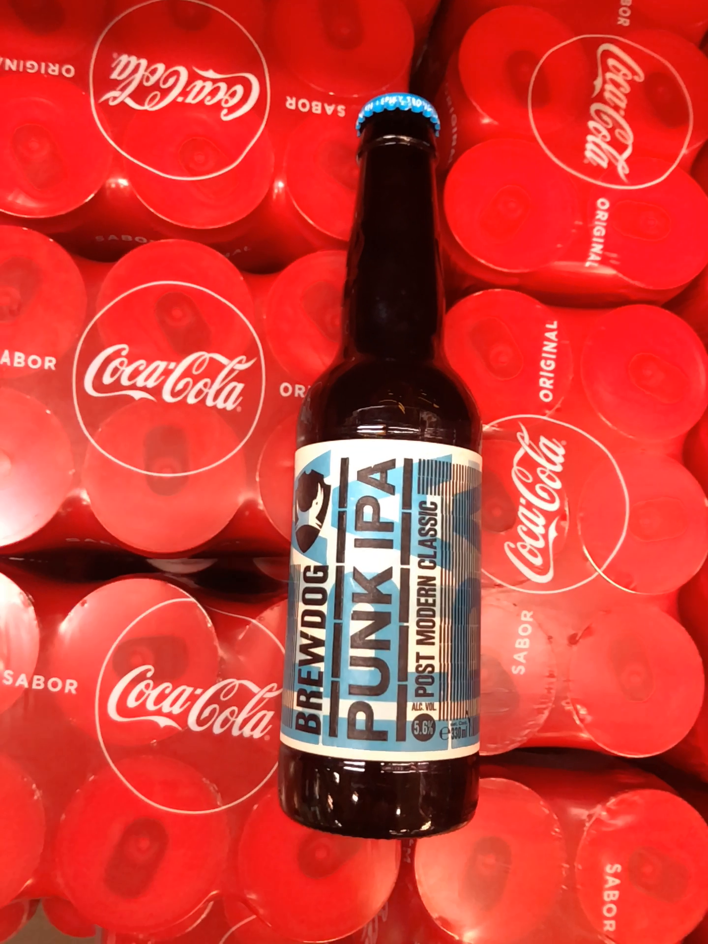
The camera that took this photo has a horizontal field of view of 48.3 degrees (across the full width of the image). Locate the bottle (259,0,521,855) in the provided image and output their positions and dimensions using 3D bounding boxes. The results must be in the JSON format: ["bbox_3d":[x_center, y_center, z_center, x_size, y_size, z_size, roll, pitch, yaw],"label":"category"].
[{"bbox_3d":[0.009,-0.021,0.231,0.060,0.060,0.230,3,82,-8],"label":"bottle"}]
